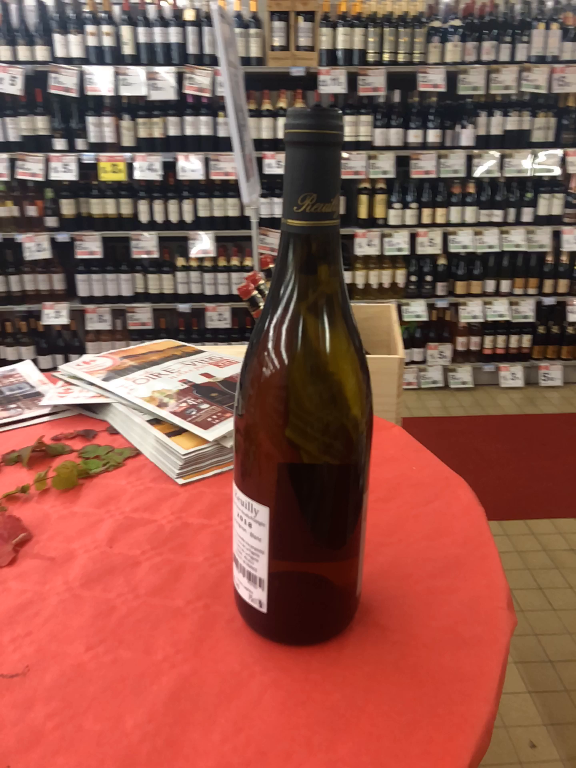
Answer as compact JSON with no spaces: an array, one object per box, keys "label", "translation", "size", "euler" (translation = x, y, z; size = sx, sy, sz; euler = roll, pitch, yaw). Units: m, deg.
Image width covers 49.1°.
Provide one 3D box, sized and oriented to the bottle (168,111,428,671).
[{"label":"bottle","translation":[0.005,0.002,0.353],"size":[0.090,0.279,0.090],"euler":[0,20,0]}]
